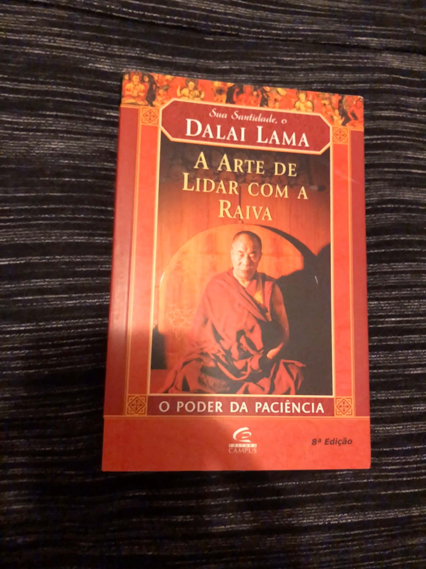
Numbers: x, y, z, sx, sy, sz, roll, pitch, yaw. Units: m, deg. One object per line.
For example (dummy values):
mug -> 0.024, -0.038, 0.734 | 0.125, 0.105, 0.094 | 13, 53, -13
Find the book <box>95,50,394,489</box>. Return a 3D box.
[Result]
book -> 0.019, -0.010, 0.262 | 0.150, 0.030, 0.220 | 2, 82, -9

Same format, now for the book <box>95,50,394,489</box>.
book -> 0.019, -0.010, 0.262 | 0.150, 0.030, 0.220 | 2, 82, -9

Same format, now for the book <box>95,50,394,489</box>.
book -> 0.019, -0.010, 0.262 | 0.150, 0.030, 0.220 | 2, 82, -9
